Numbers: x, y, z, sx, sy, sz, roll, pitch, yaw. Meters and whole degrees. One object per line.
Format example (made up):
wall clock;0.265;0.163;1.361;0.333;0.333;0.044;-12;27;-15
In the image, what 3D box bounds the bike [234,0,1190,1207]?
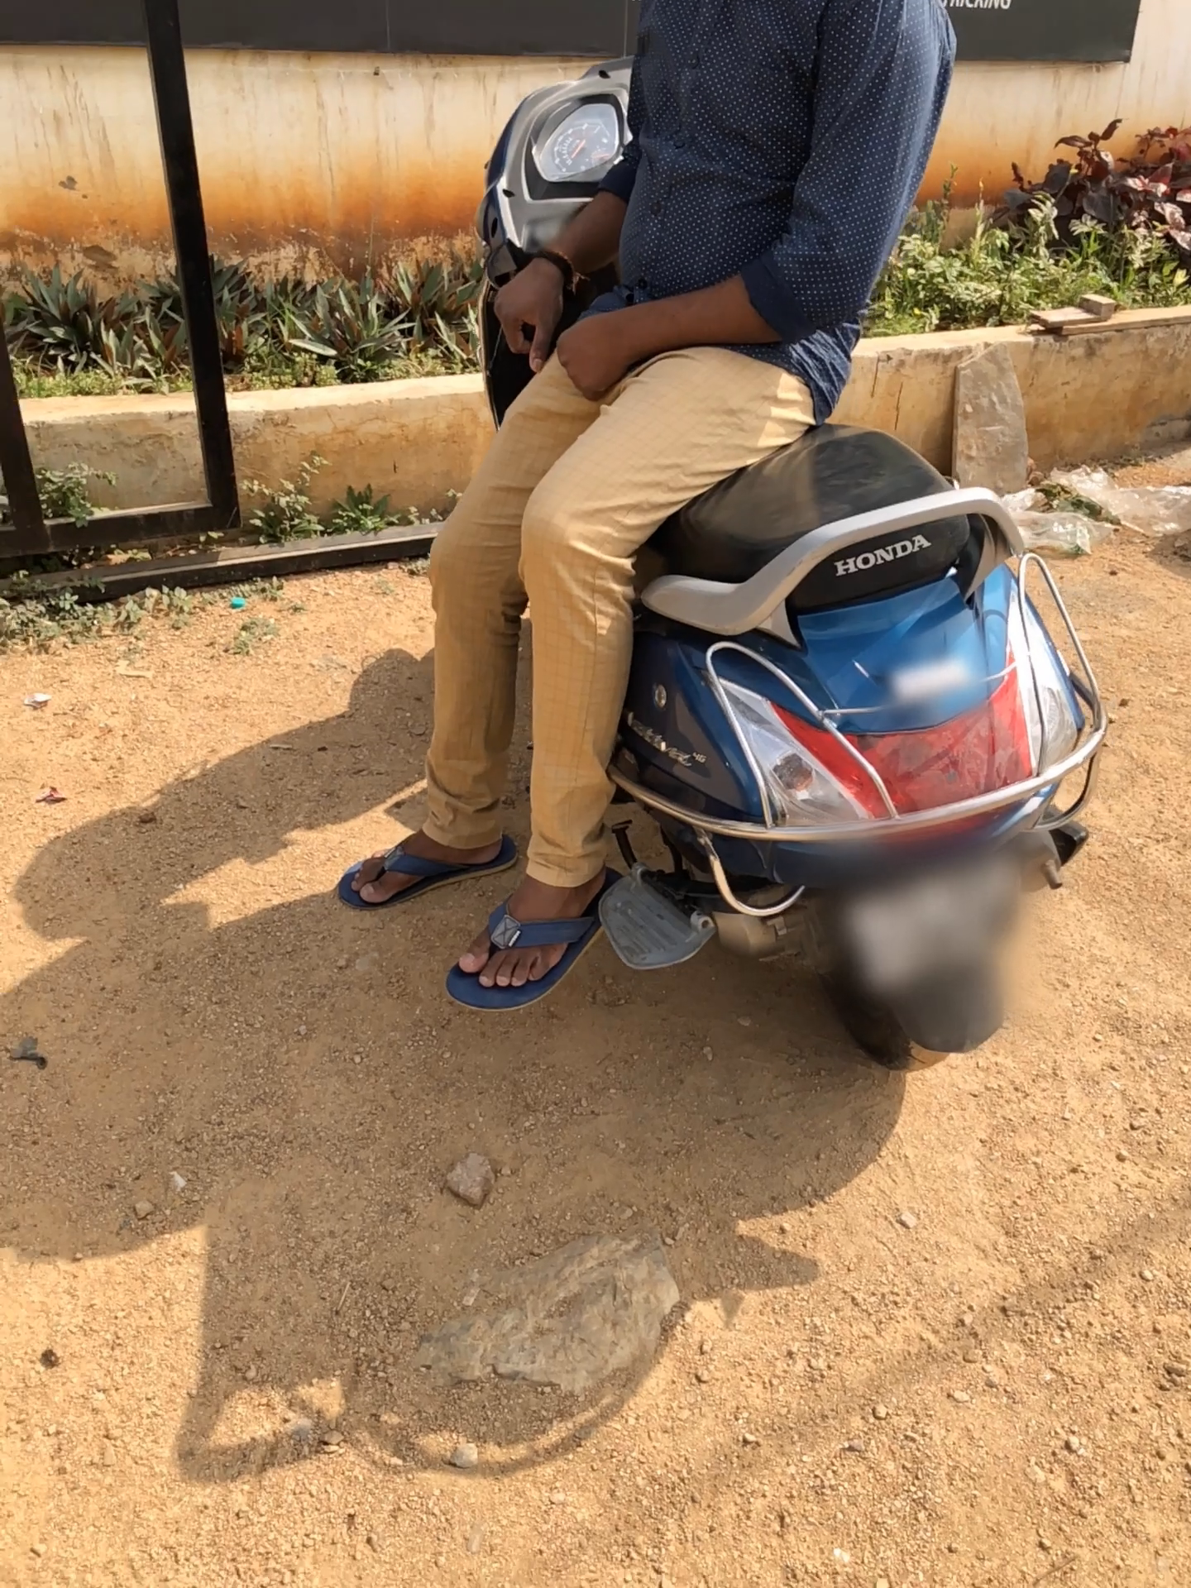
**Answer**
bike;-0.024;-0.464;1.877;0.623;1.115;1.554;-9;34;-18
